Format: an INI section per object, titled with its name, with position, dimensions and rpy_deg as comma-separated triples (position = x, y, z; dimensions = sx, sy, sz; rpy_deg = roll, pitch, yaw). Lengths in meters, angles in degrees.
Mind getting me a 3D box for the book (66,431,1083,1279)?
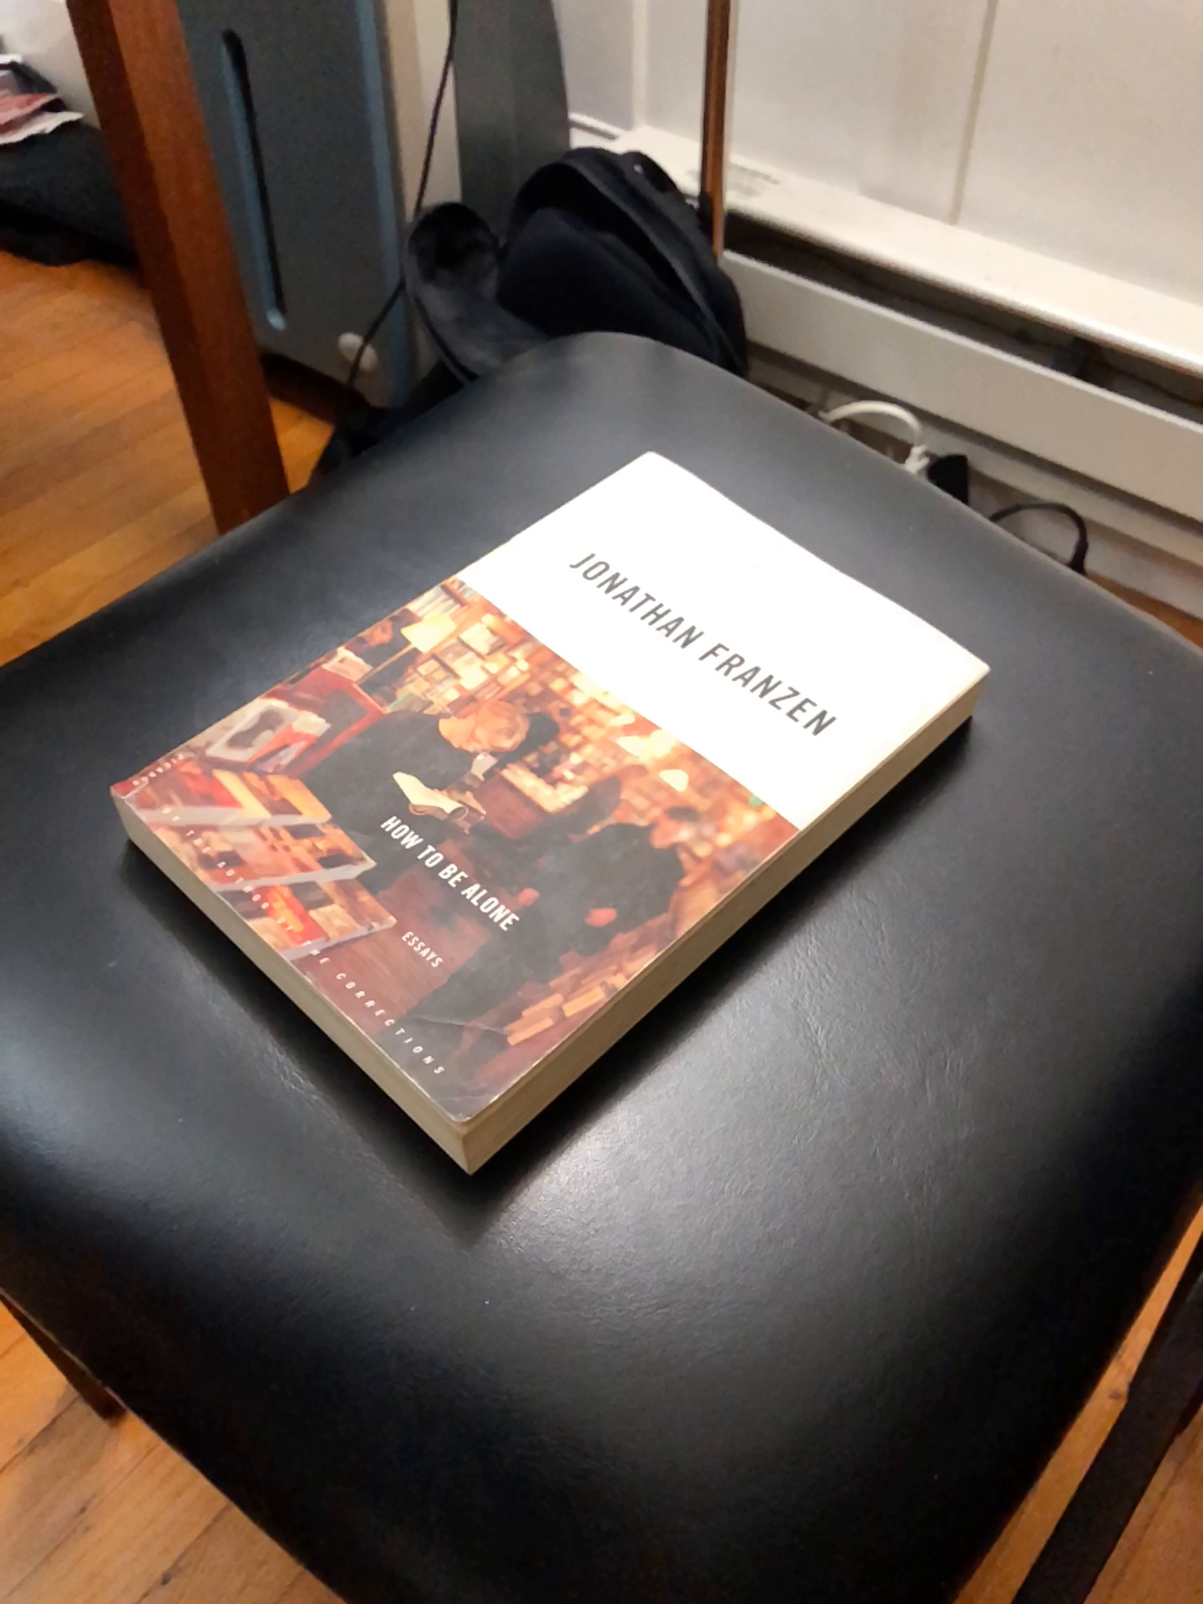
[book]
position = -0.001, -0.010, 0.377
dimensions = 0.160, 0.040, 0.231
rpy_deg = 36, 58, 28
